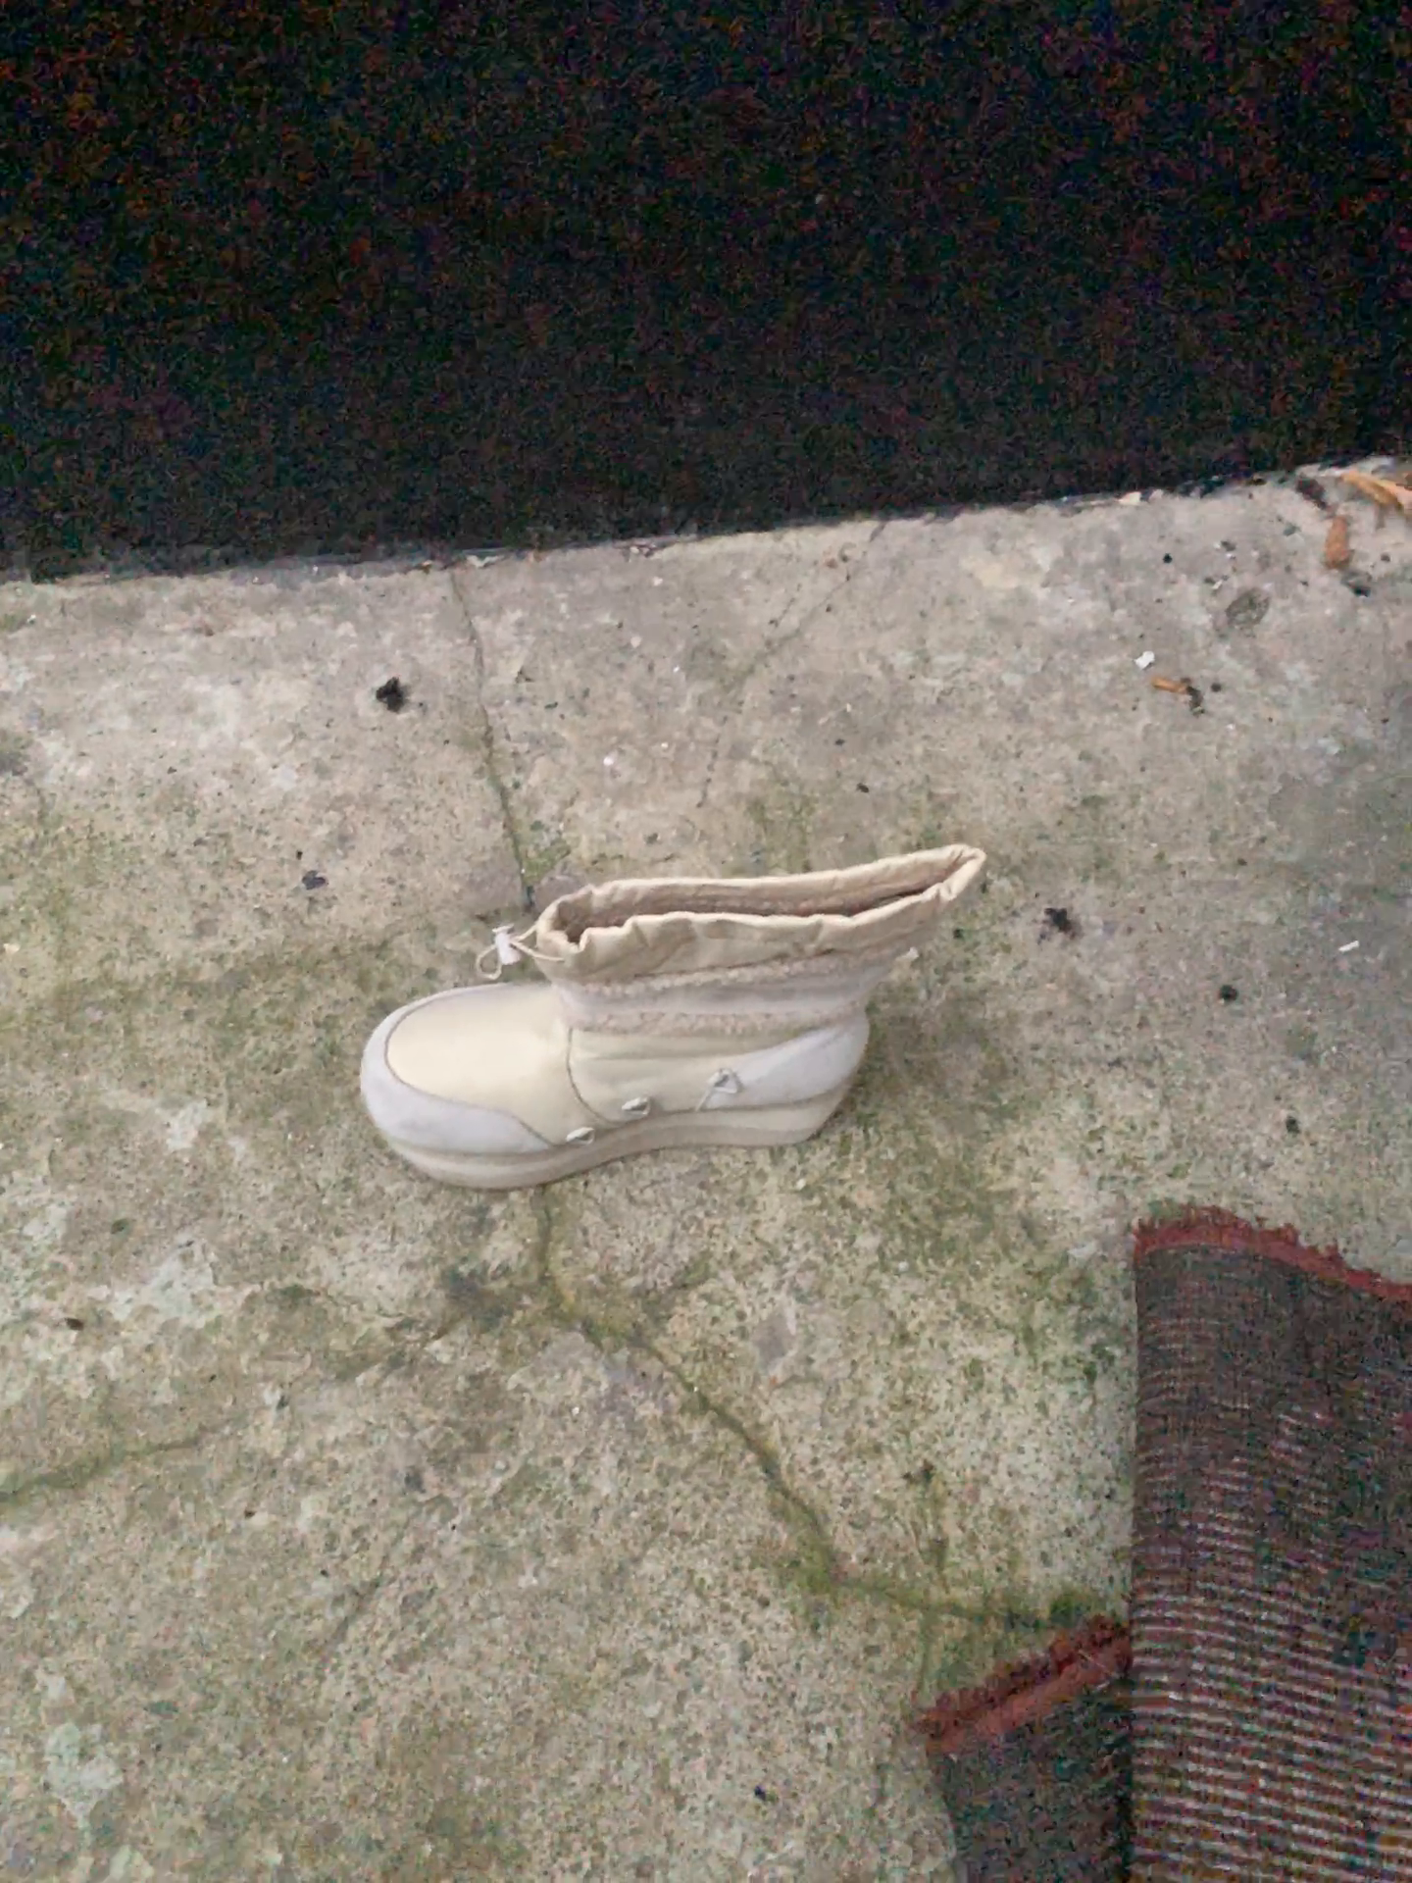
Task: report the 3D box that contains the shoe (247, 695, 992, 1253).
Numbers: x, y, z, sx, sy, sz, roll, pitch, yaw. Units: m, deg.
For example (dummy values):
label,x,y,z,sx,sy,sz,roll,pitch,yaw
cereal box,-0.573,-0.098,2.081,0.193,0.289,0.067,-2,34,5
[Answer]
label,x,y,z,sx,sy,sz,roll,pitch,yaw
shoe,-0.043,0.034,0.685,0.270,0.308,0.121,-4,62,-6
